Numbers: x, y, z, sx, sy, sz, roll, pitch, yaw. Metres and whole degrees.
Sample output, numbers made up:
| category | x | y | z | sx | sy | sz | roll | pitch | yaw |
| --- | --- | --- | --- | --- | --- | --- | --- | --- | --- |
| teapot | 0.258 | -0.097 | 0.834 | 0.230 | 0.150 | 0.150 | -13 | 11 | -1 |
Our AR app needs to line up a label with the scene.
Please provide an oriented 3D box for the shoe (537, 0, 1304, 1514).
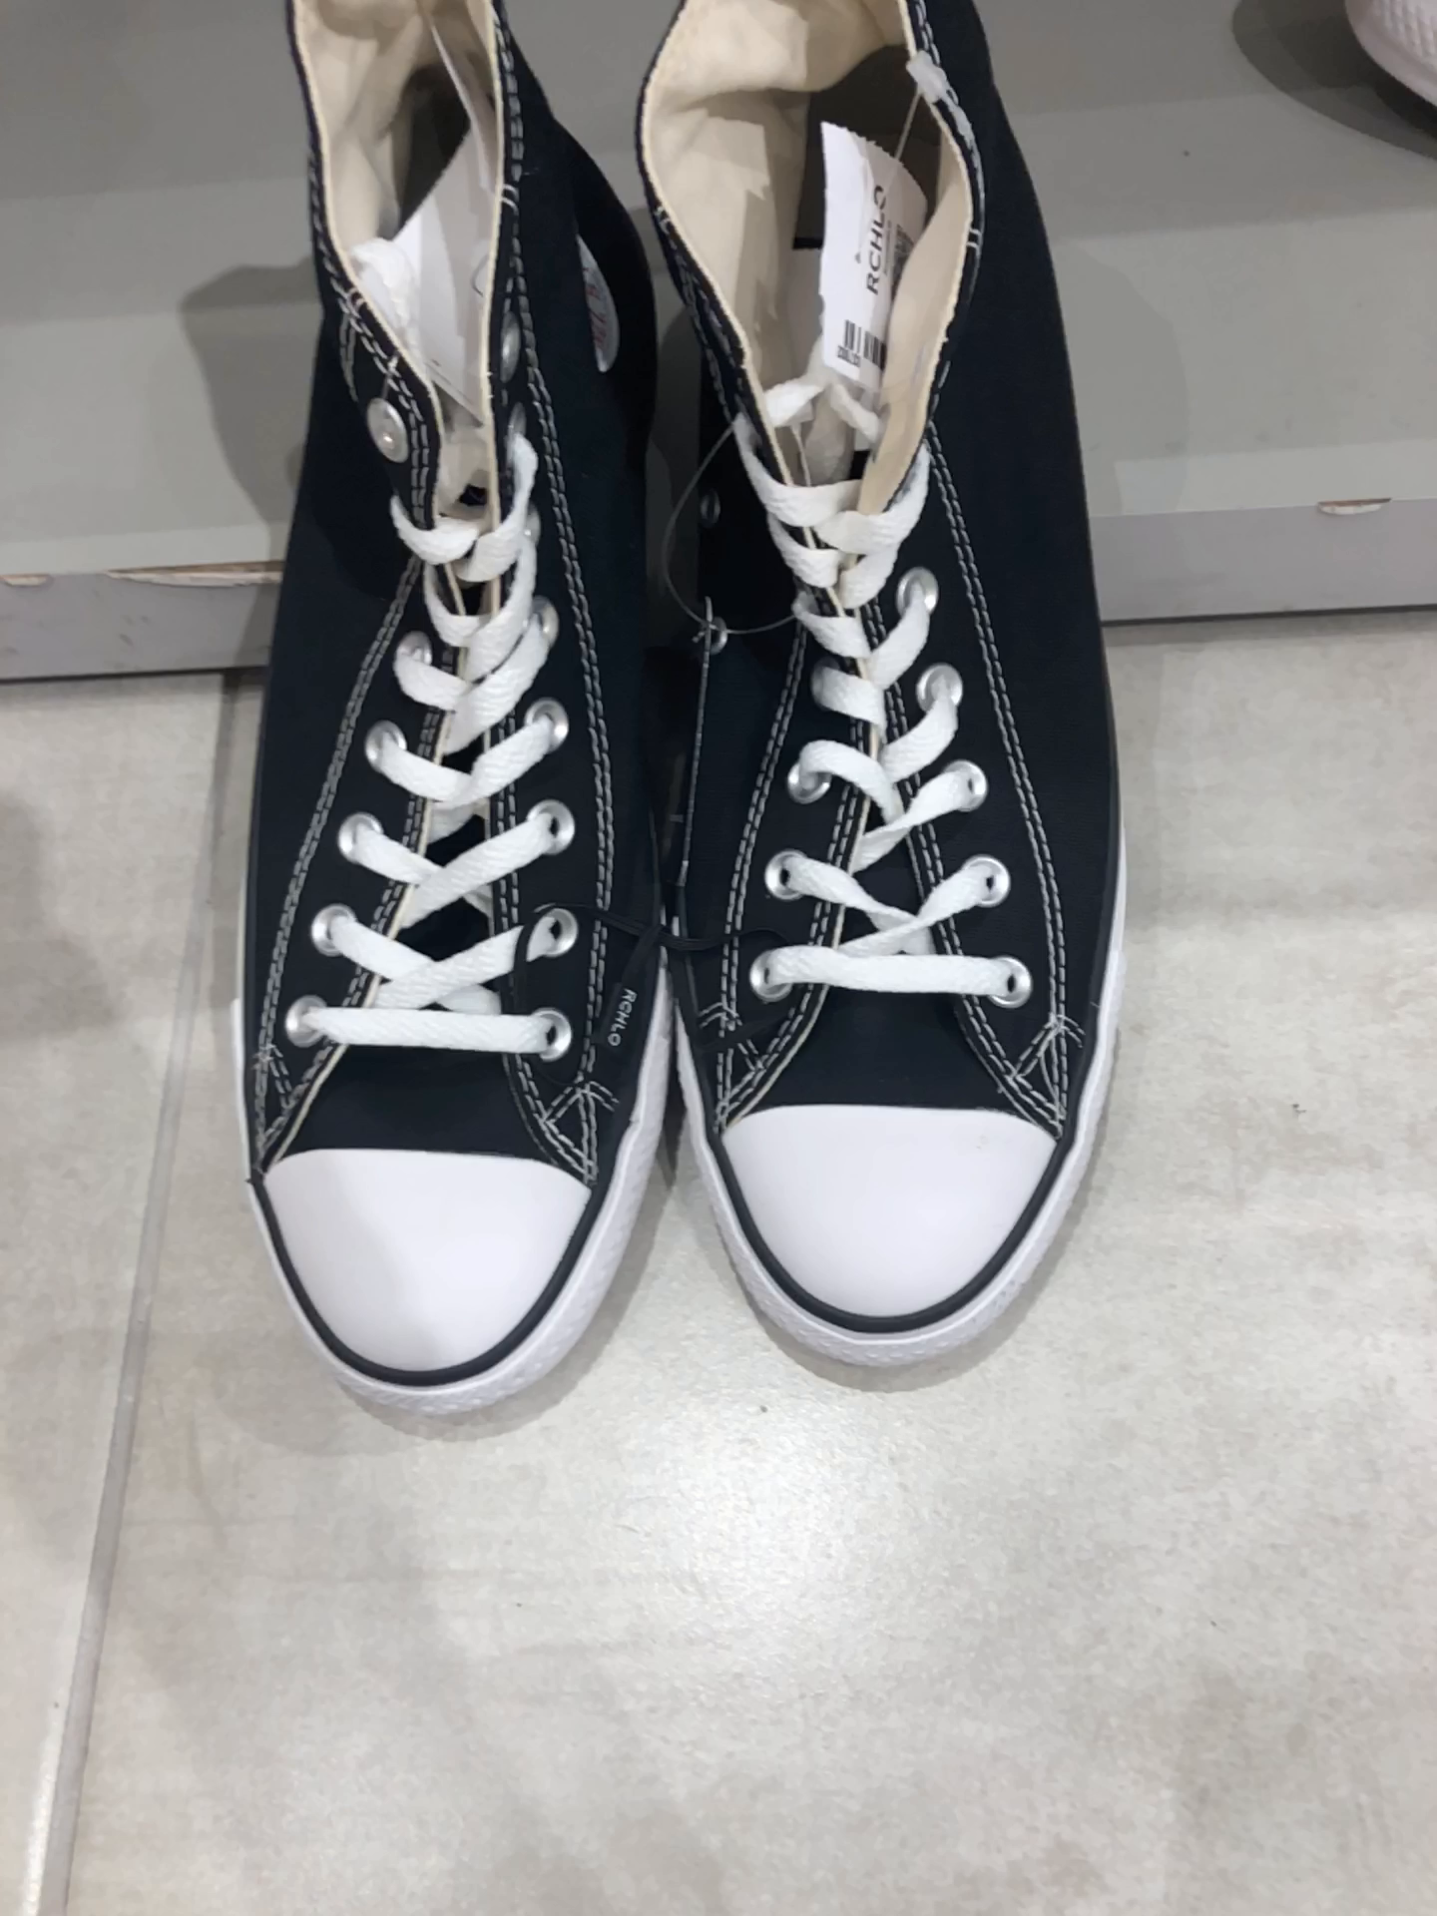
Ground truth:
| category | x | y | z | sx | sy | sz | roll | pitch | yaw |
| --- | --- | --- | --- | --- | --- | --- | --- | --- | --- |
| shoe | 0.036 | -0.071 | 0.338 | 0.120 | 0.140 | 0.330 | -1 | 87 | 4 |

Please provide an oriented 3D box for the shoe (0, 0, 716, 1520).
| category | x | y | z | sx | sy | sz | roll | pitch | yaw |
| --- | --- | --- | --- | --- | --- | --- | --- | --- | --- |
| shoe | -0.069 | -0.055 | 0.359 | 0.120 | 0.140 | 0.310 | 1 | 88 | 5 |
